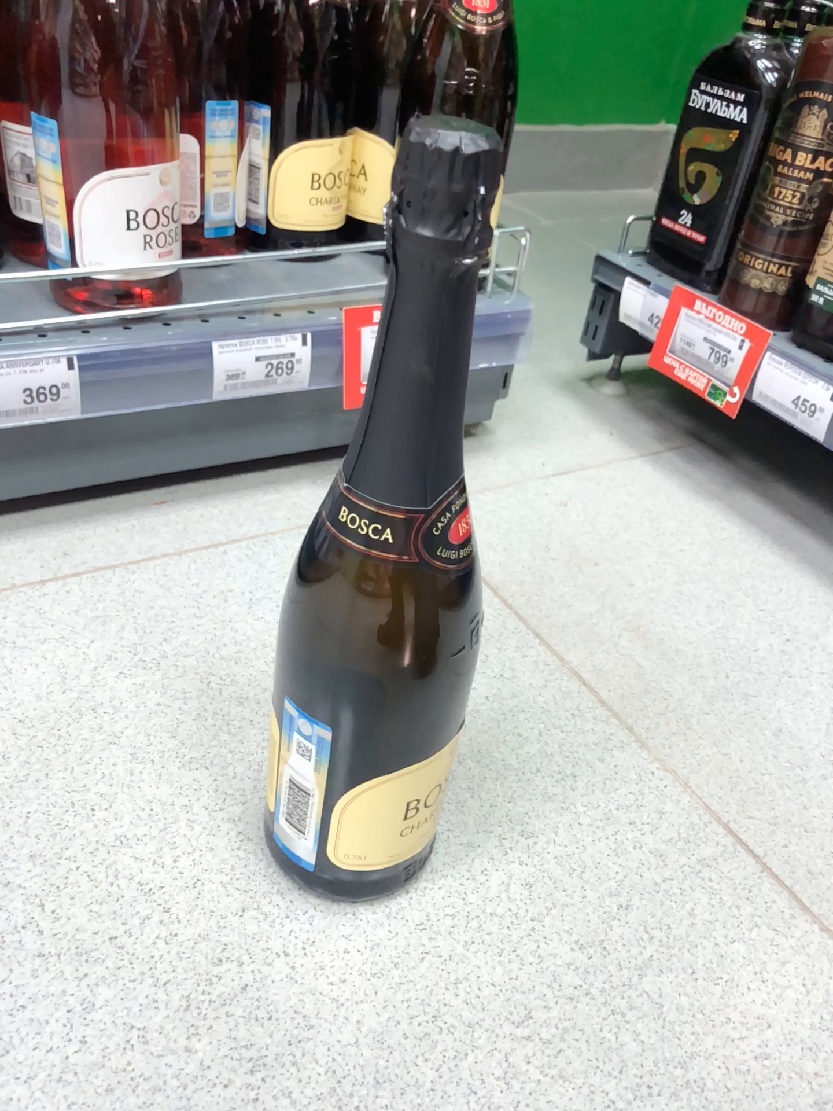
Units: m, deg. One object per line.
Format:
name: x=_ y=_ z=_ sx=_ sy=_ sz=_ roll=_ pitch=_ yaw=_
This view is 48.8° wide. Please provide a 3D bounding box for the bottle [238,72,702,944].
bottle: x=0.004 y=-0.003 z=0.354 sx=0.090 sy=0.311 sz=0.100 roll=26 pitch=37 yaw=22
